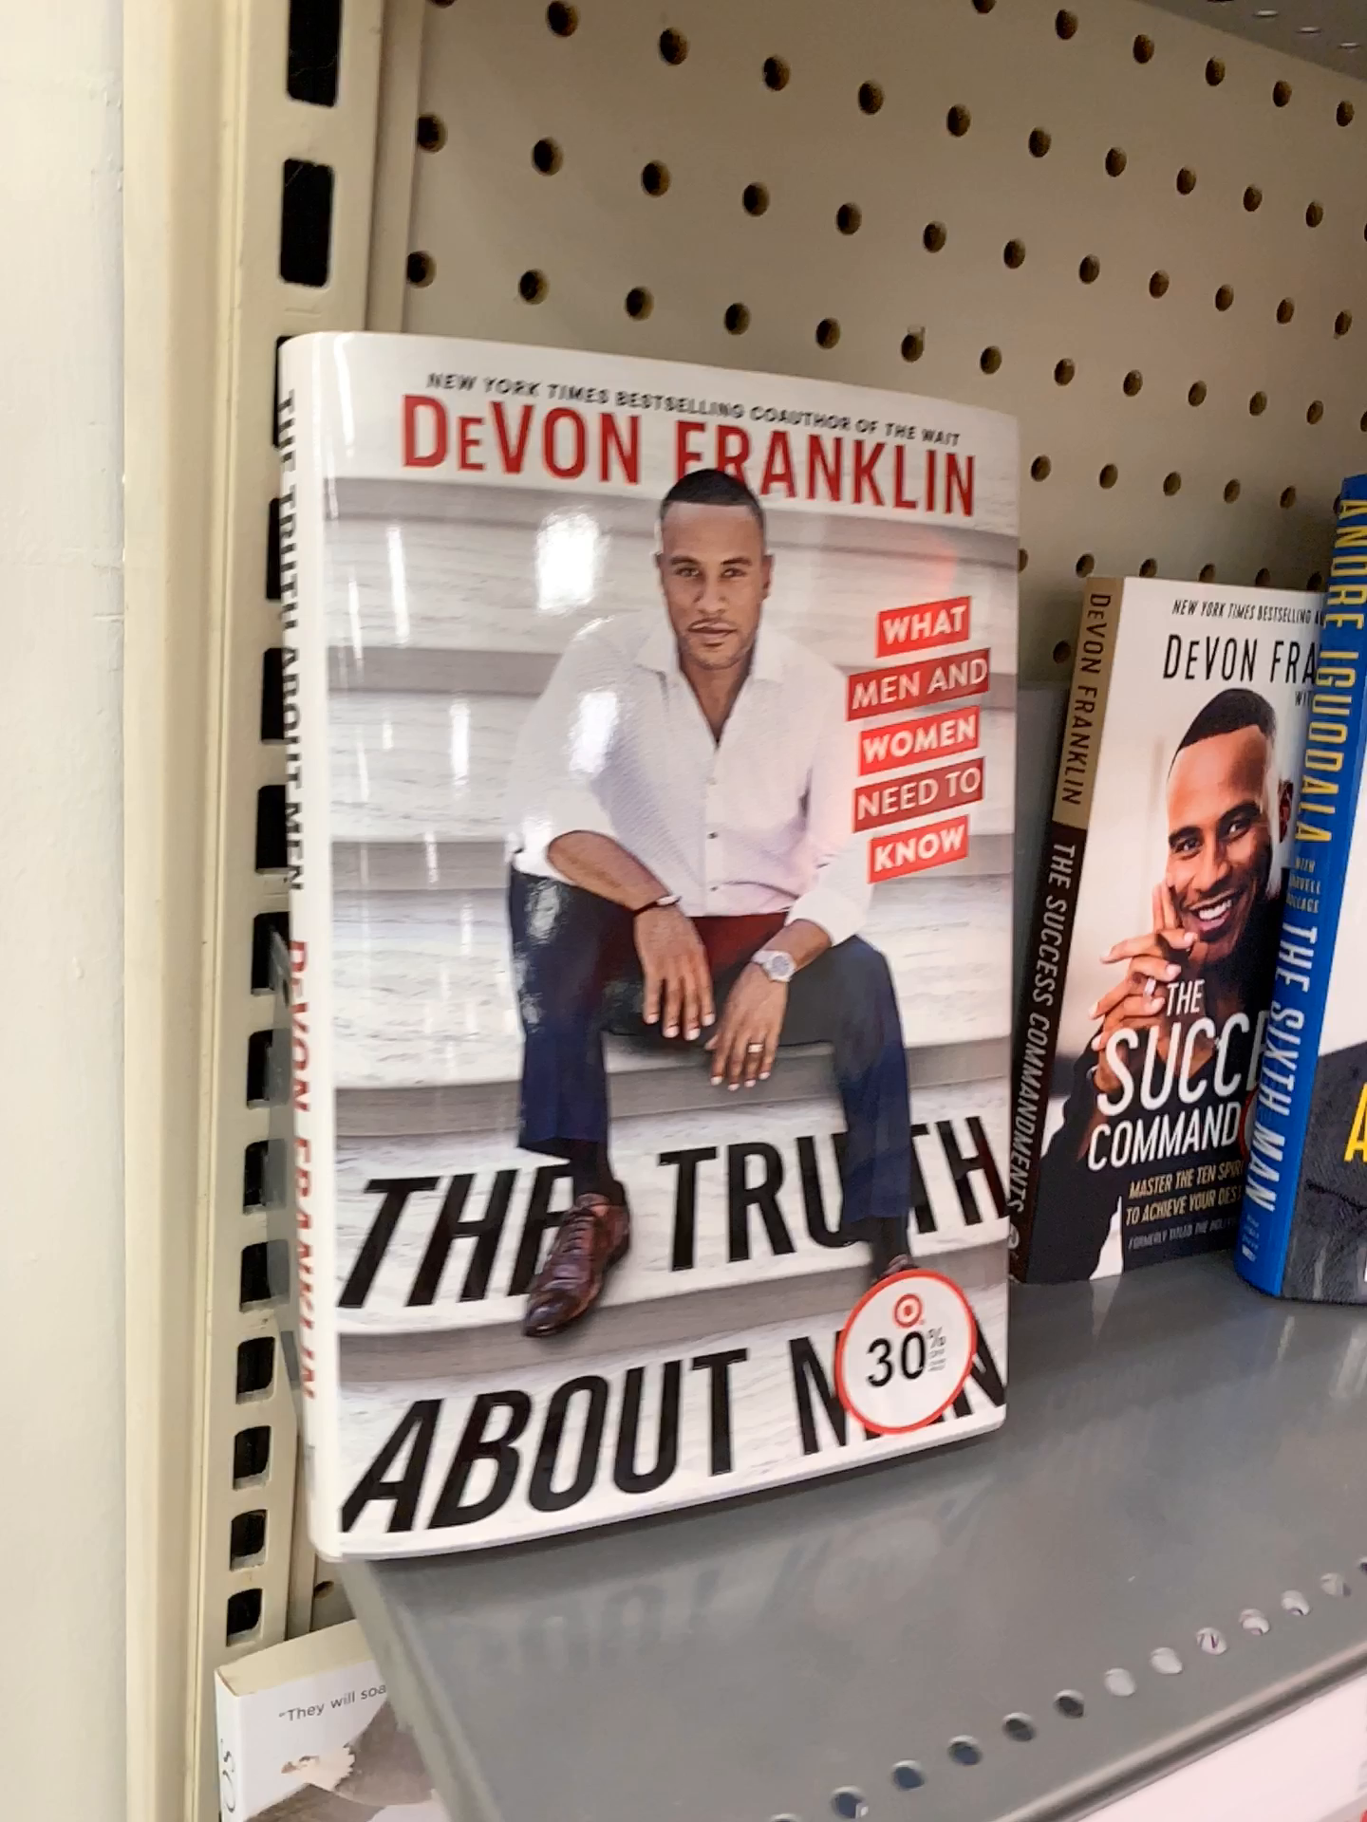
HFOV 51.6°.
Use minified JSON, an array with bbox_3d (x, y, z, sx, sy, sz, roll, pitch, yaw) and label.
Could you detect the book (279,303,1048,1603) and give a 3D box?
[{"bbox_3d":[0.000,0.007,0.308,0.160,0.236,0.040,-2,5,-25],"label":"book"}]
